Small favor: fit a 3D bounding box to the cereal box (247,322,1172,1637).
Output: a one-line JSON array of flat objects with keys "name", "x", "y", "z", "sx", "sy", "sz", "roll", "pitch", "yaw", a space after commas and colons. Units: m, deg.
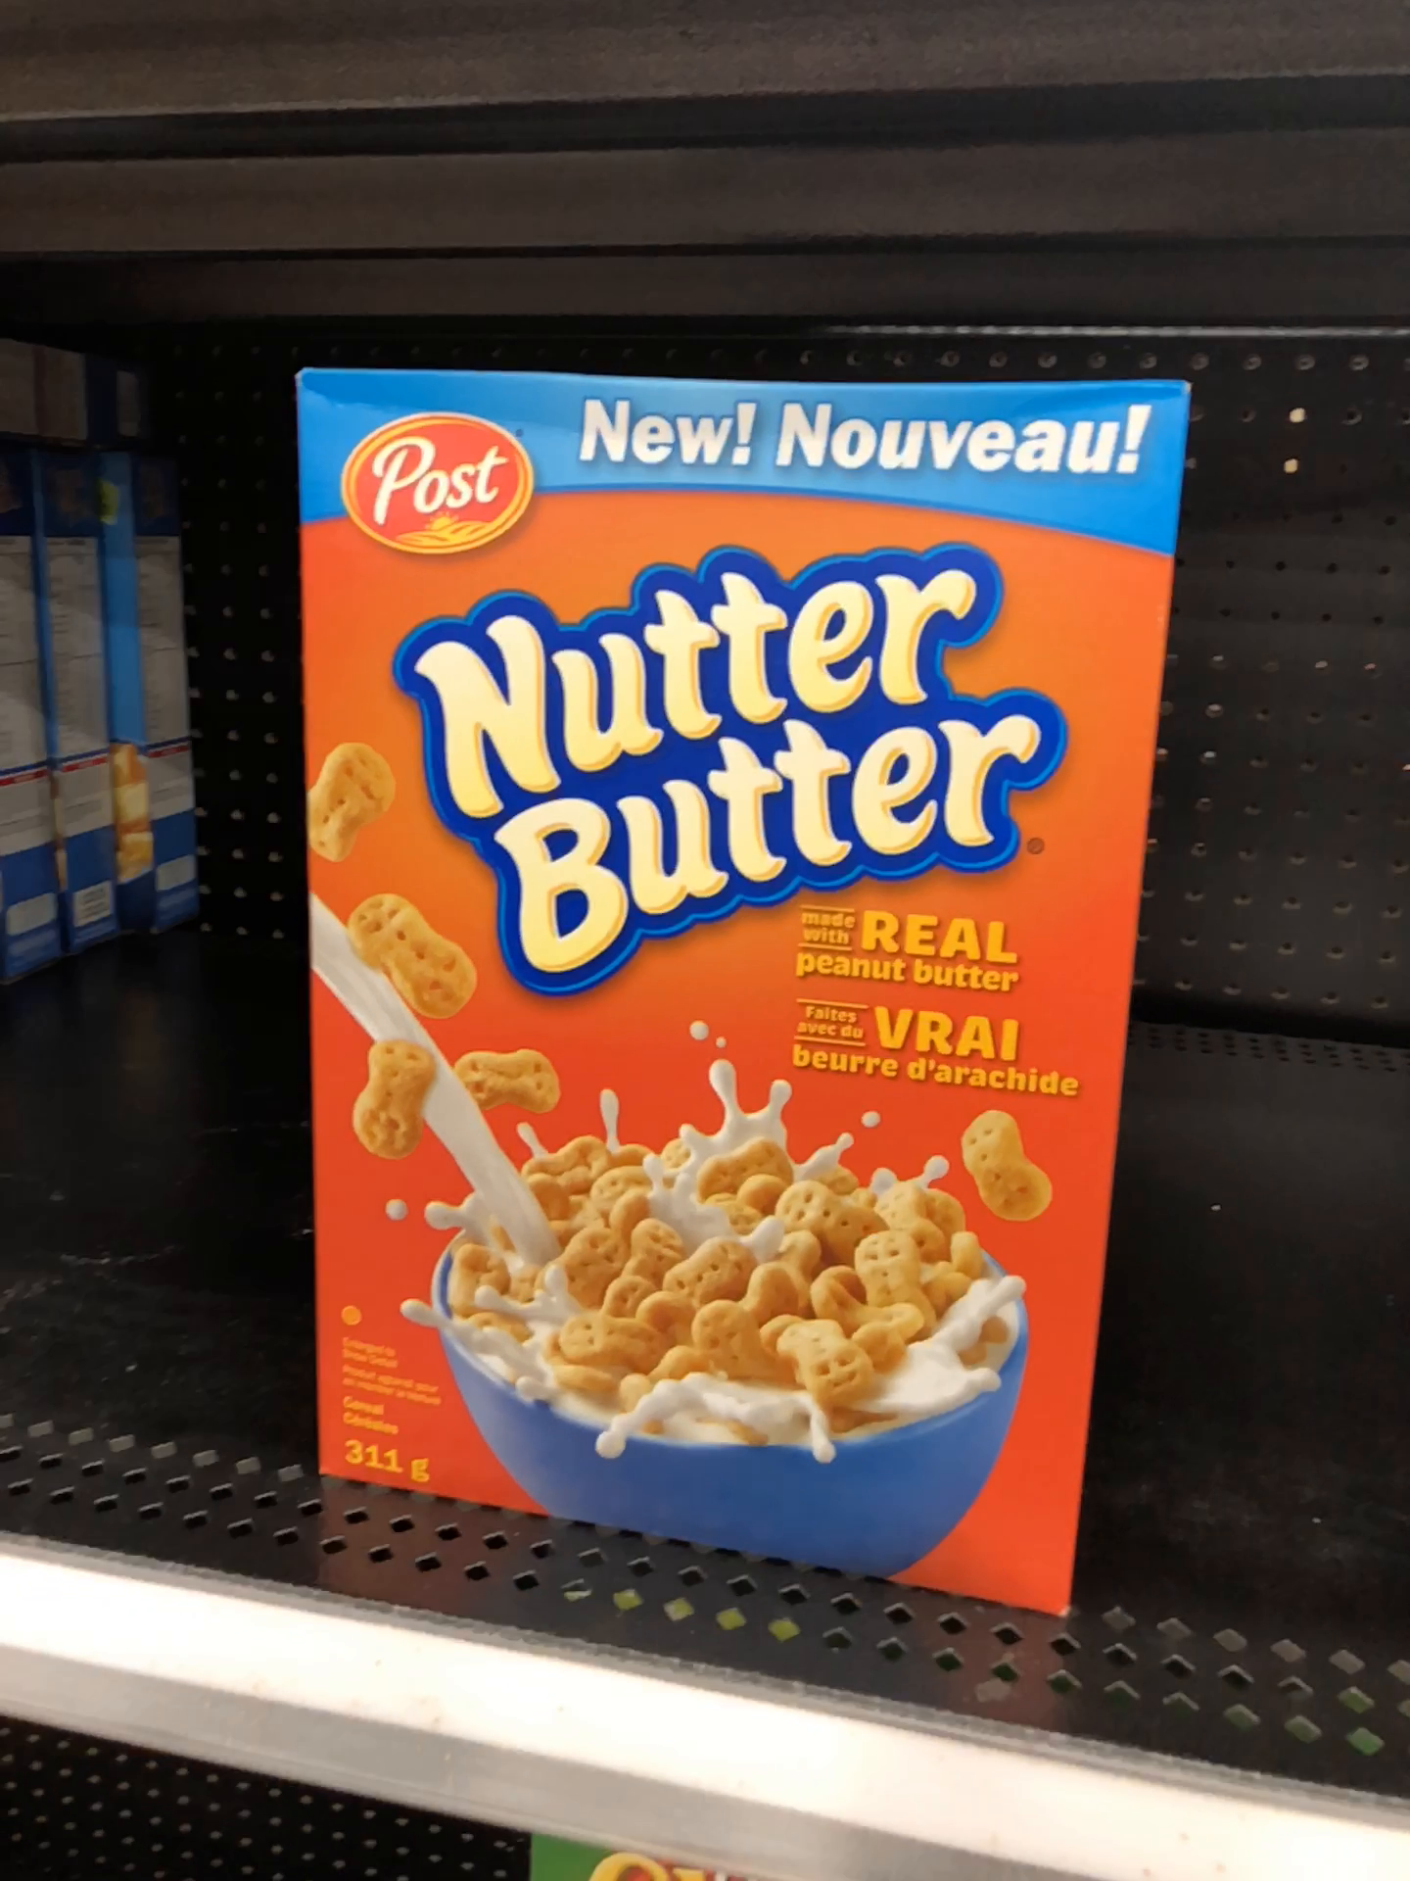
[{"name": "cereal box", "x": -0.002, "y": 0.006, "z": 0.369, "sx": 0.190, "sy": 0.279, "sz": 0.060, "roll": 5, "pitch": 14, "yaw": 14}]
